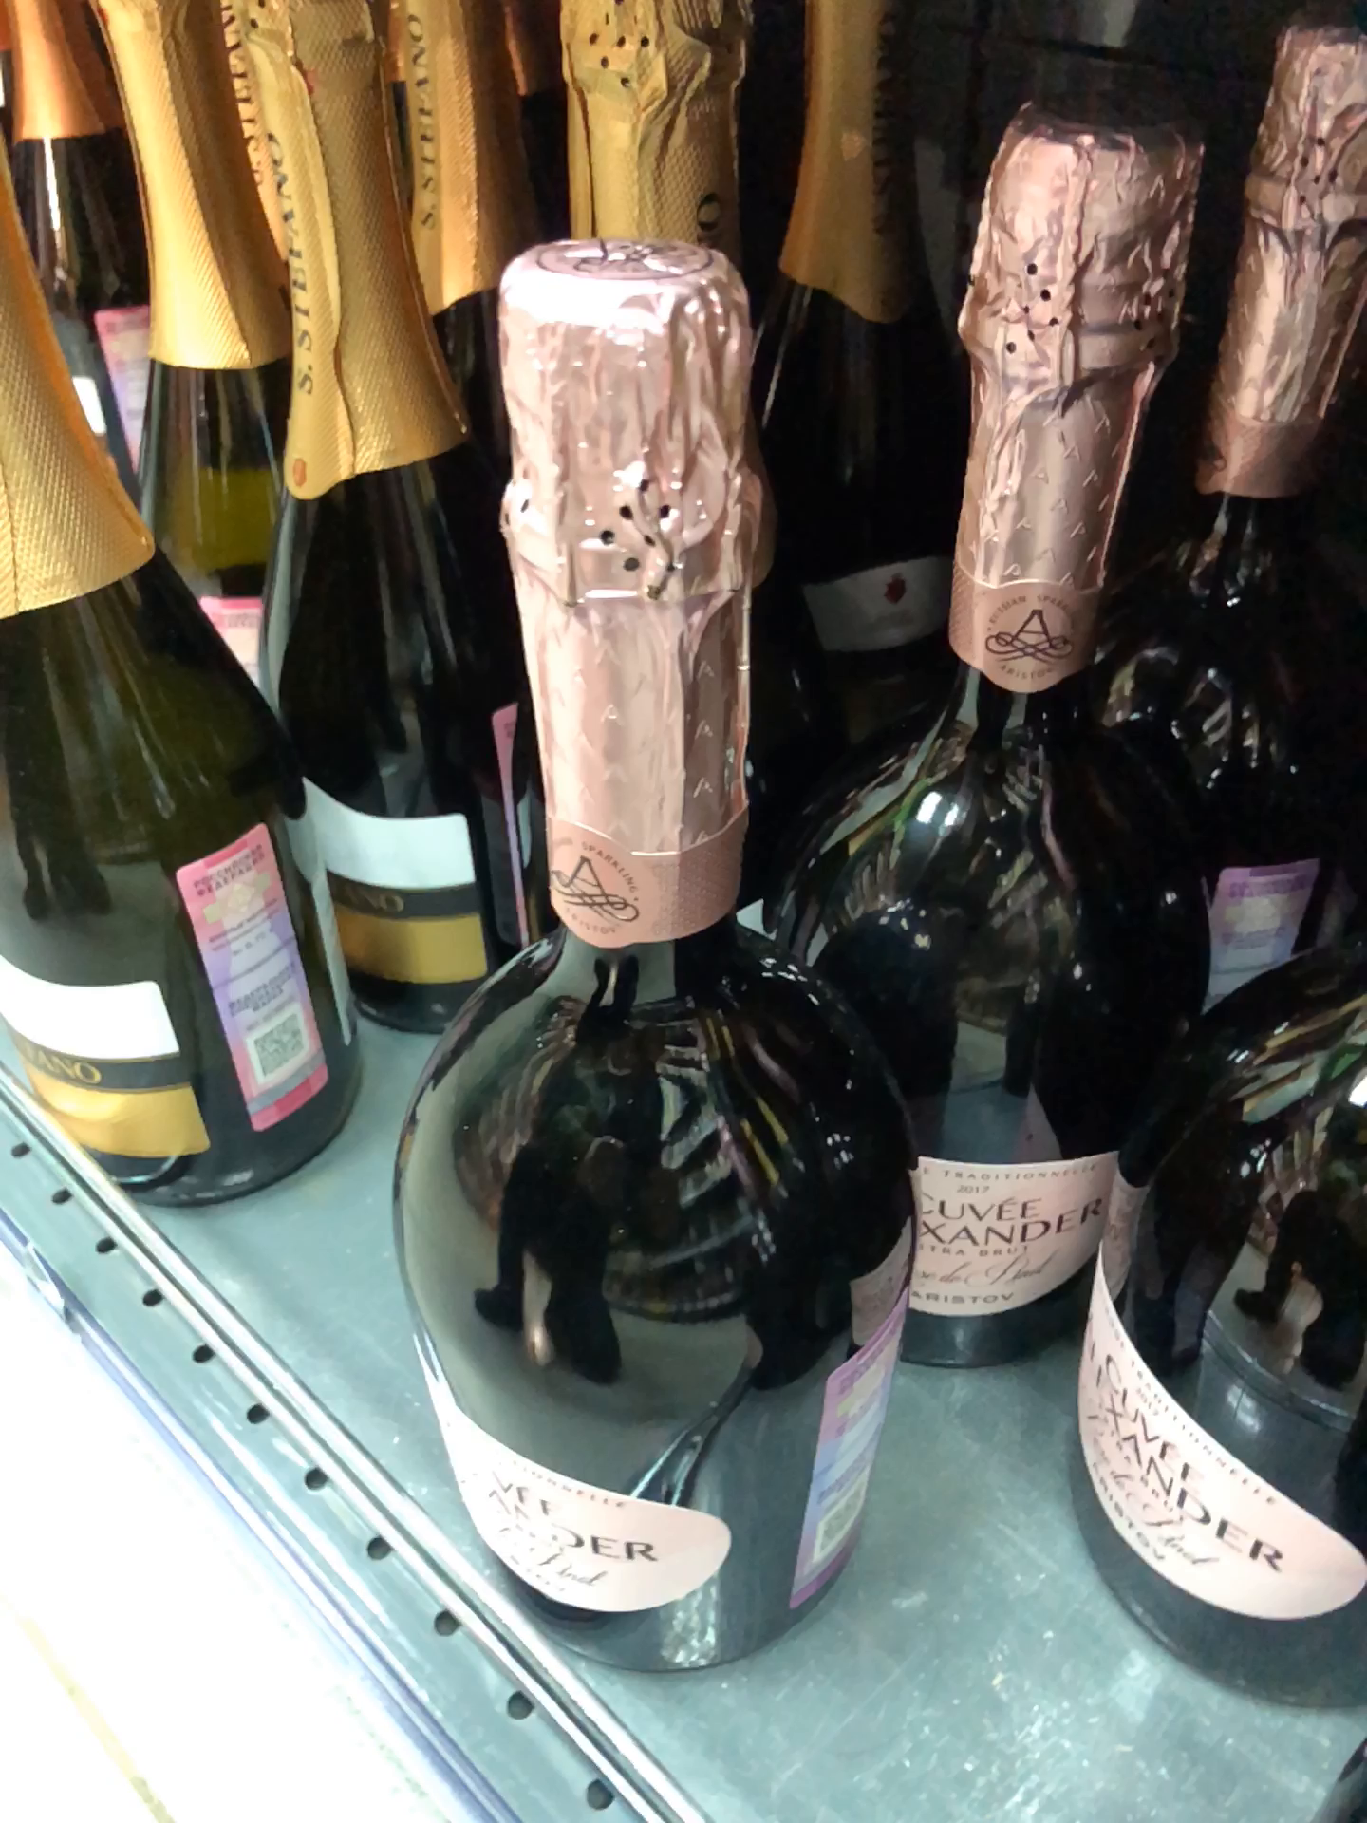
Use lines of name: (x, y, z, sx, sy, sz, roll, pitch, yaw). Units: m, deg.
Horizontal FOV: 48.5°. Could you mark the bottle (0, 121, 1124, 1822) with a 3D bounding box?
bottle: (-0.016, 0.030, 0.269, 0.110, 0.278, 0.090, 27, 47, 30)
